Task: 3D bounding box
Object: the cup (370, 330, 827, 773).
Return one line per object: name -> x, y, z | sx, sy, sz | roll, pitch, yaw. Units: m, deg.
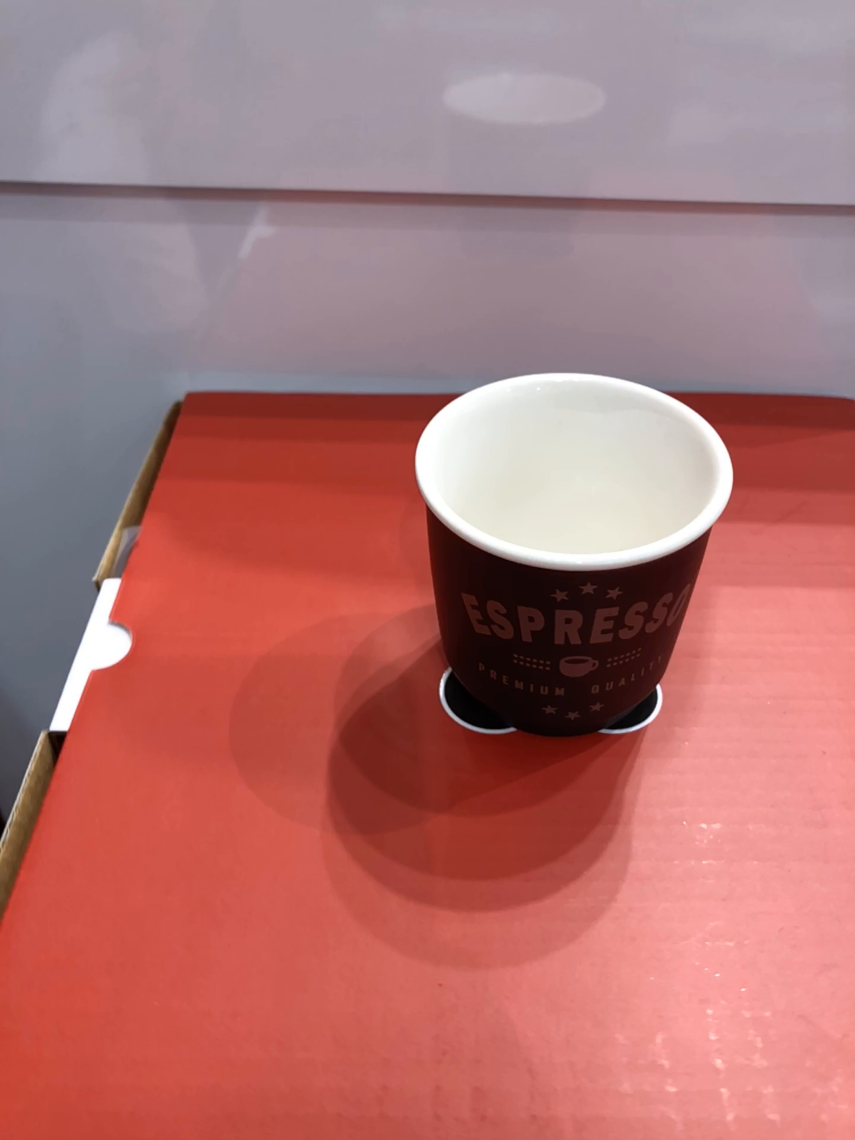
cup -> 0.029, -0.006, 0.204 | 0.070, 0.060, 0.060 | -8, 43, -10
